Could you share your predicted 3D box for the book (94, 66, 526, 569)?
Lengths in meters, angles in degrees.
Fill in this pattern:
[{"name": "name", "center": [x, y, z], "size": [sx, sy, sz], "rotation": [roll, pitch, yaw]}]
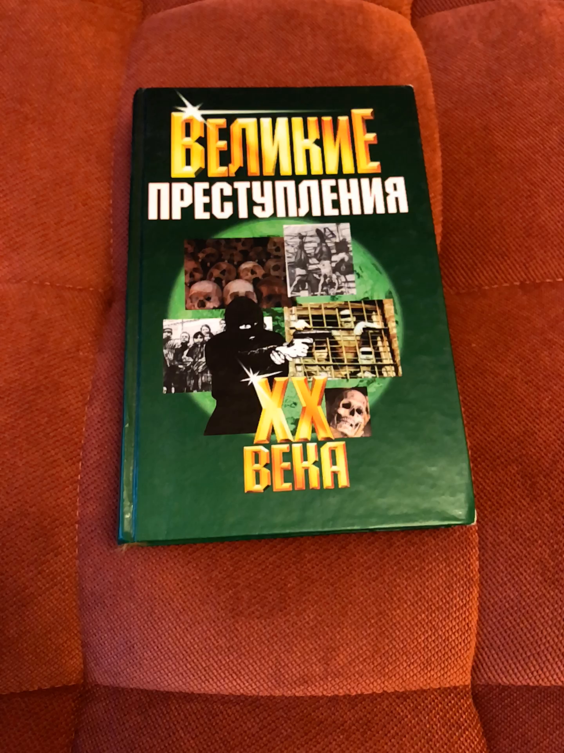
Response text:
[{"name": "book", "center": [0.006, -0.036, 0.289], "size": [0.160, 0.040, 0.231], "rotation": [-2, 71, -2]}]
